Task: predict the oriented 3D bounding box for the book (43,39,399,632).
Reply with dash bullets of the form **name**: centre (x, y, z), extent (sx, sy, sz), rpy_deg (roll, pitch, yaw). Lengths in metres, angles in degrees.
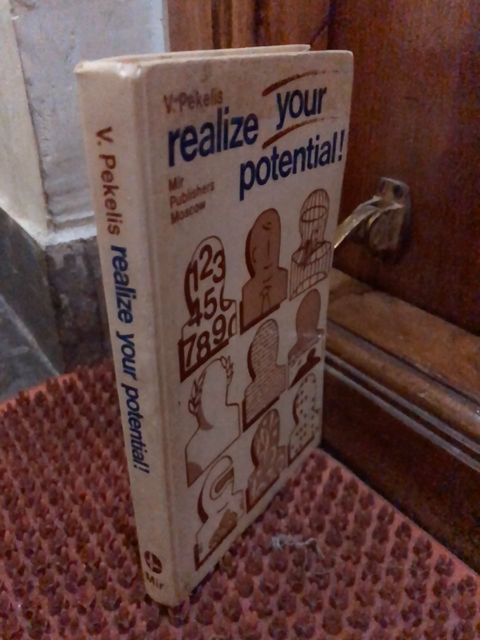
- **book**: centre (0.011, 0.000, 0.229), extent (0.030, 0.209, 0.150), rpy_deg (19, 34, 34)
